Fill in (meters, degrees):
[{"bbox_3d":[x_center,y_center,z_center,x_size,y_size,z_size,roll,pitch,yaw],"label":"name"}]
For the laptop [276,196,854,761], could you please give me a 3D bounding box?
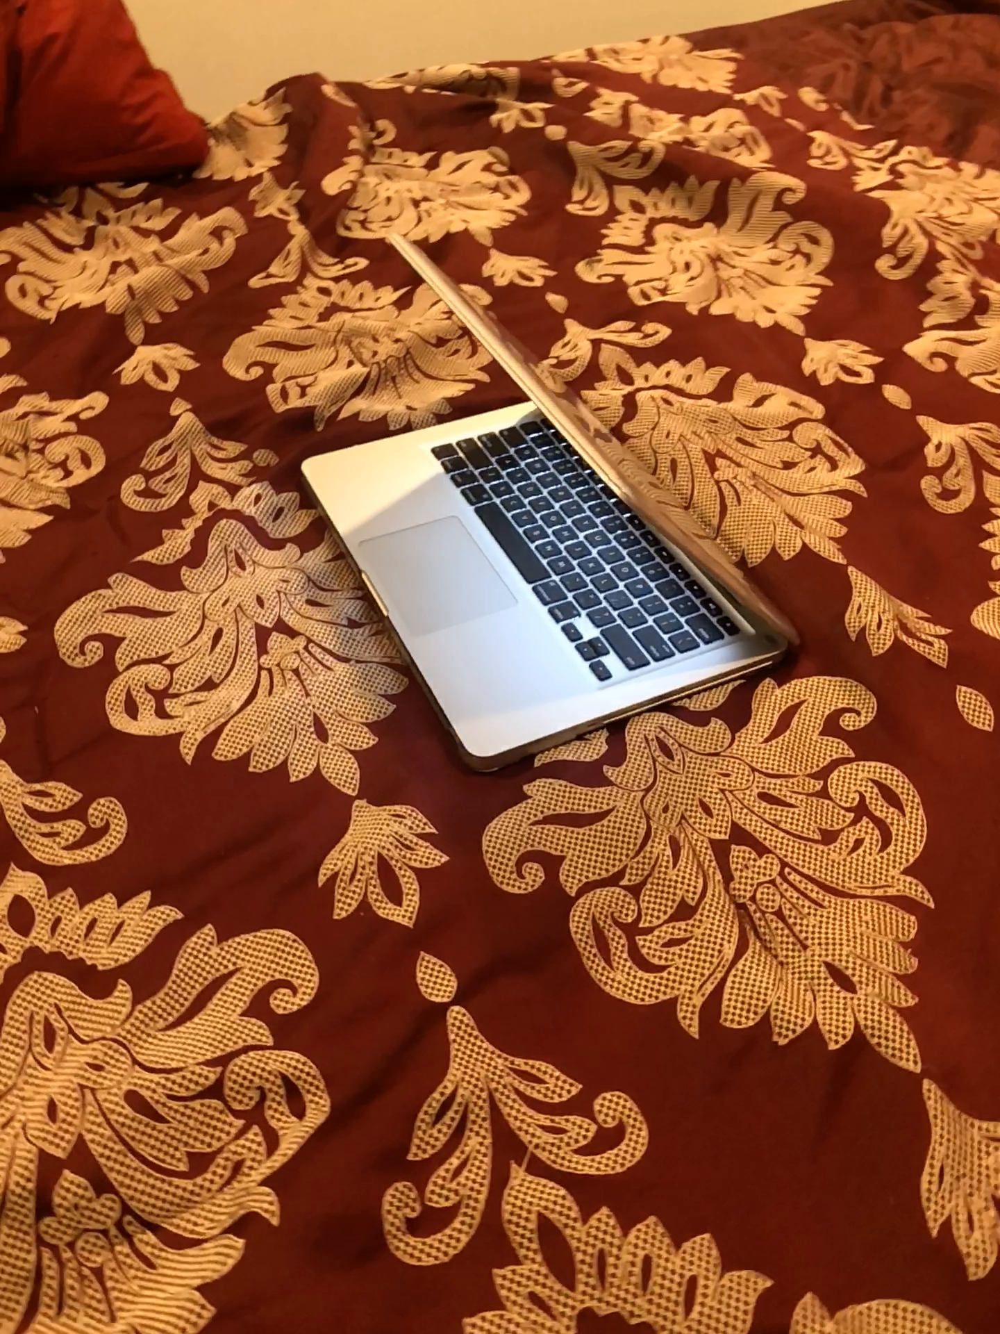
[{"bbox_3d":[0.020,-0.137,0.696,0.212,0.156,0.313,-19,49,-18],"label":"laptop"}]
